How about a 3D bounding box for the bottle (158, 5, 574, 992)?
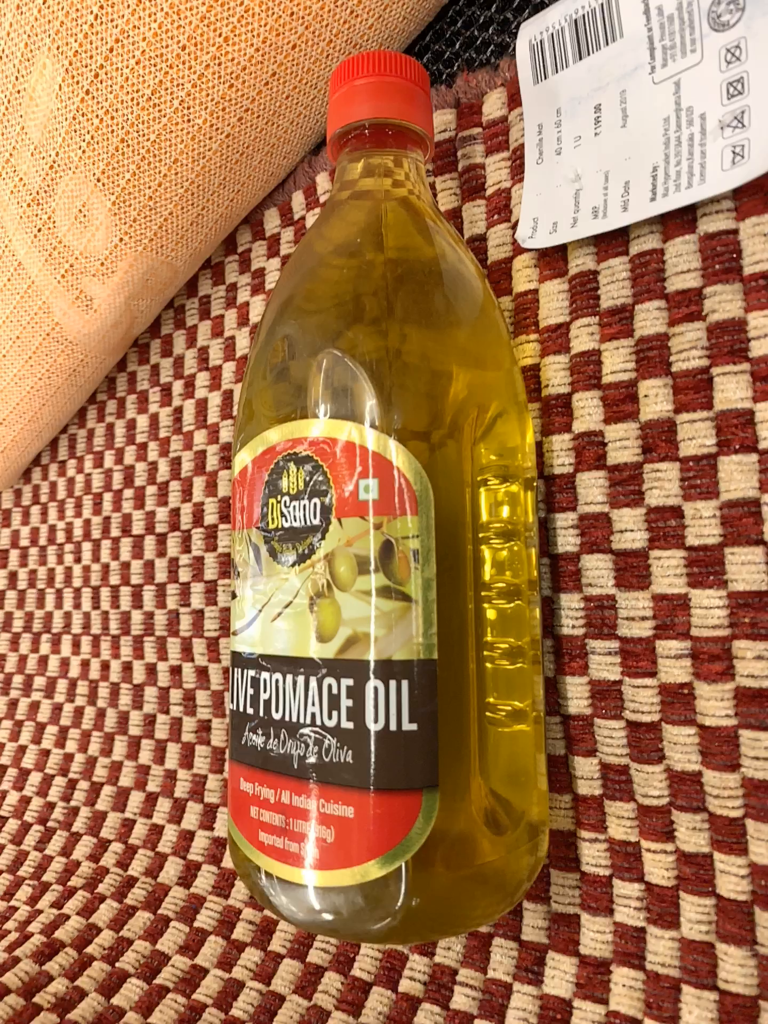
[{"bbox_3d":[-0.001,-0.004,0.224,0.080,0.080,0.210,-3,84,36],"label":"bottle"}]
